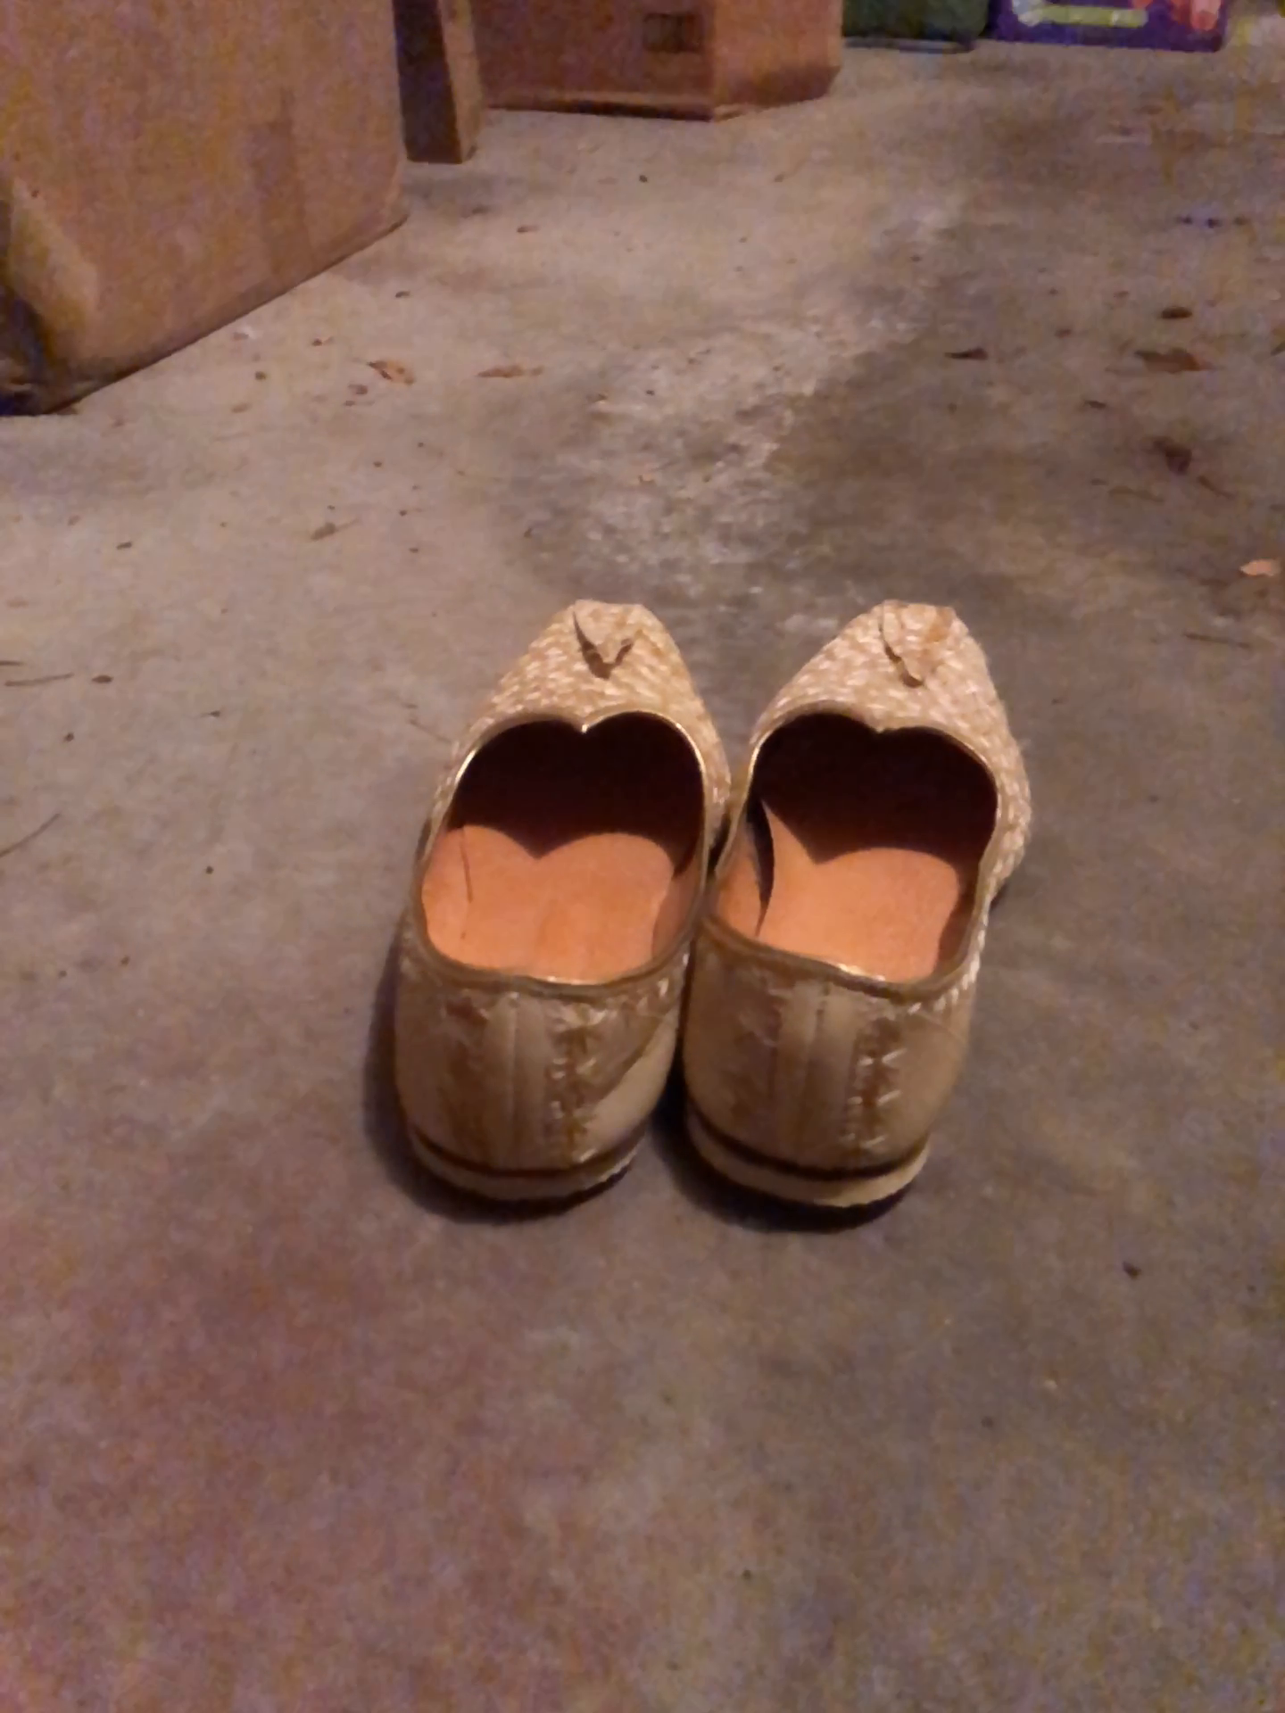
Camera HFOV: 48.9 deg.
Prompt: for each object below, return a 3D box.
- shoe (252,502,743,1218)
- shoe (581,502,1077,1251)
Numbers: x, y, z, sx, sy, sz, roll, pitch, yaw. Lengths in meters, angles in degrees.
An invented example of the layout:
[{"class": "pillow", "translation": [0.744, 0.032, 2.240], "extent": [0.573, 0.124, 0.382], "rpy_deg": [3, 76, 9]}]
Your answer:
[{"class": "shoe", "translation": [-0.025, -0.023, 0.442], "extent": [0.104, 0.073, 0.276], "rpy_deg": [3, 35, 3]}, {"class": "shoe", "translation": [0.072, -0.020, 0.438], "extent": [0.104, 0.073, 0.276], "rpy_deg": [9, 36, 12]}]
